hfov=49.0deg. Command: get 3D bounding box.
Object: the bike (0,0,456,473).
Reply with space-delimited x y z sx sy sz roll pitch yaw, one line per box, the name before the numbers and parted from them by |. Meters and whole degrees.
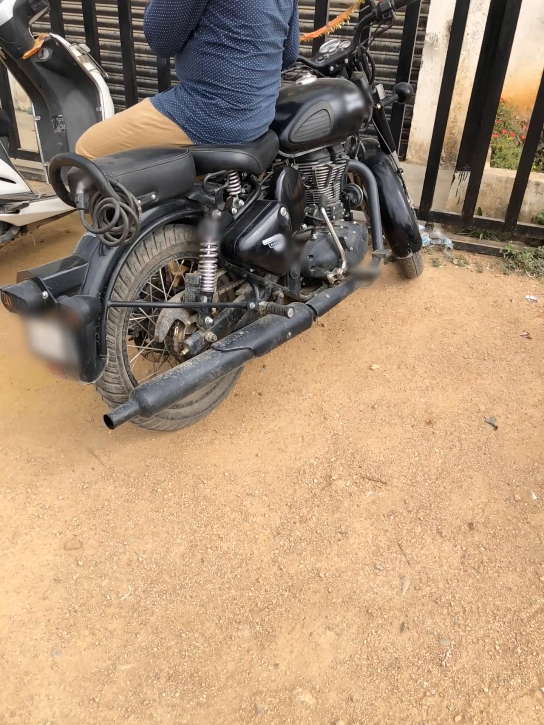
bike | -0.043 -0.851 2.126 0.722 1.169 1.817 18 41 23
